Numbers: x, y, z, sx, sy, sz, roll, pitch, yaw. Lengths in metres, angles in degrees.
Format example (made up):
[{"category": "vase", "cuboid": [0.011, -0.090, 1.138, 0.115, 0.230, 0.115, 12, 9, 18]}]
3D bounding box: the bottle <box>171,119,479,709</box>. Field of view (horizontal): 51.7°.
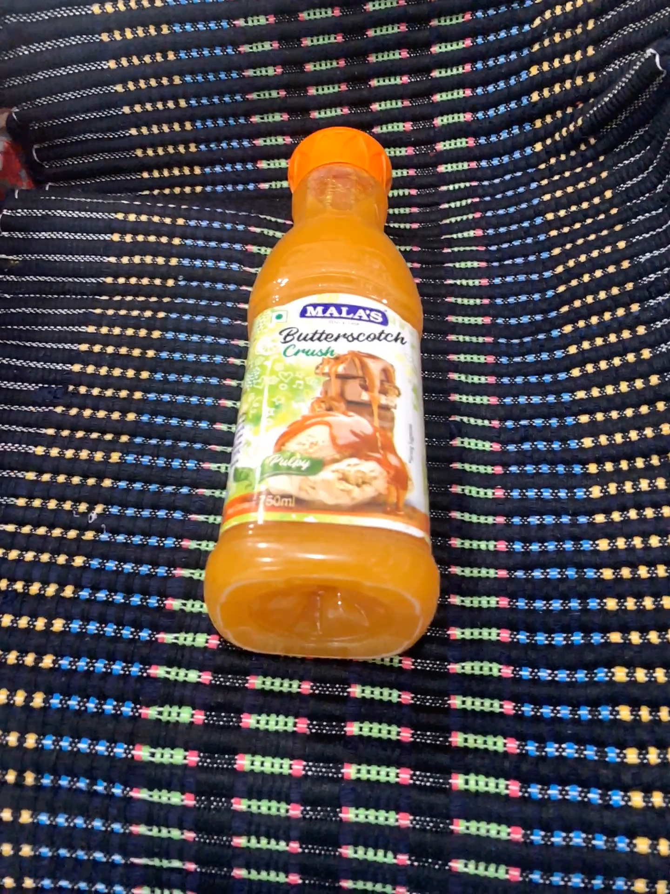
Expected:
[{"category": "bottle", "cuboid": [0.002, -0.039, 0.263, 0.070, 0.060, 0.251, 3, 48, 0]}]
